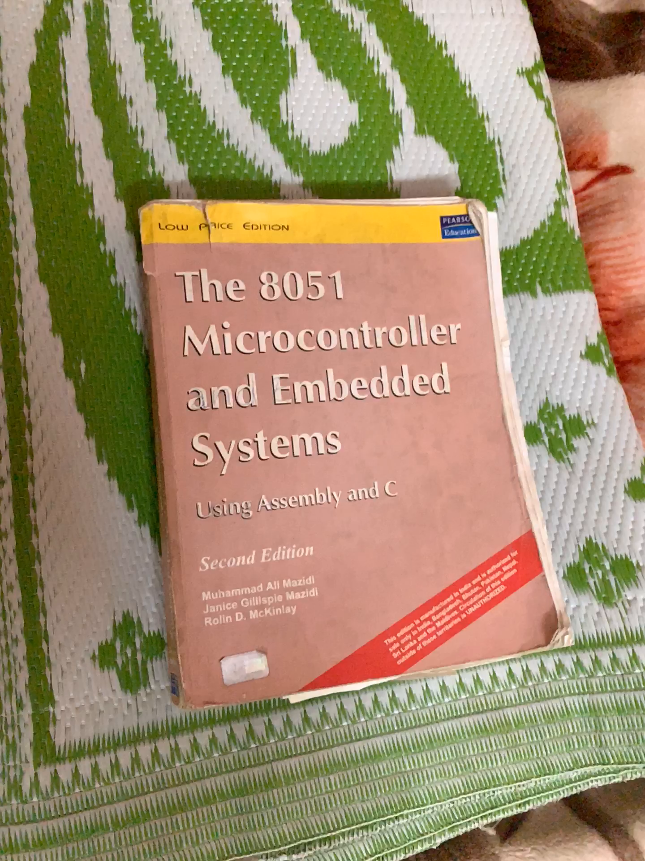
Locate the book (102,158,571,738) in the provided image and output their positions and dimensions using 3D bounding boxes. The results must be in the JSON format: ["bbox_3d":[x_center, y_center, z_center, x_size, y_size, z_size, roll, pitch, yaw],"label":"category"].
[{"bbox_3d":[0.005,-0.003,0.393,0.230,0.050,0.300,-5,84,-10],"label":"book"}]
